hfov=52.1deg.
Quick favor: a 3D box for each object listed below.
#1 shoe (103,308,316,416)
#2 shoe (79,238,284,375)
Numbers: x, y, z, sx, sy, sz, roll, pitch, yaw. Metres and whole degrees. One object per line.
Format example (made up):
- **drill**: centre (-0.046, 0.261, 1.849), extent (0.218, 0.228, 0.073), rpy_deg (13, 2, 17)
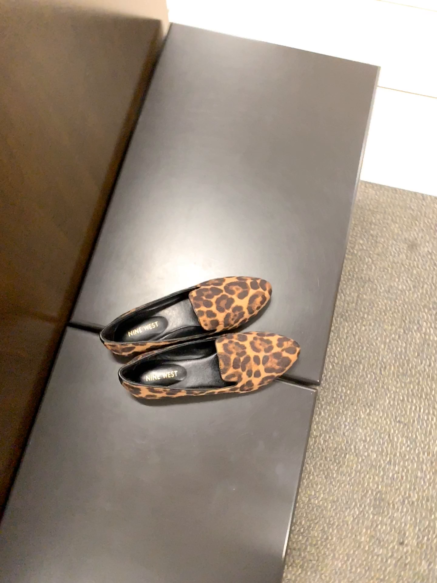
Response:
- **shoe**: centre (-0.012, 0.096, 0.589), extent (0.247, 0.090, 0.090), rpy_deg (-9, 76, -2)
- **shoe**: centre (-0.047, 0.024, 0.618), extent (0.247, 0.090, 0.090), rpy_deg (-21, 76, -5)
